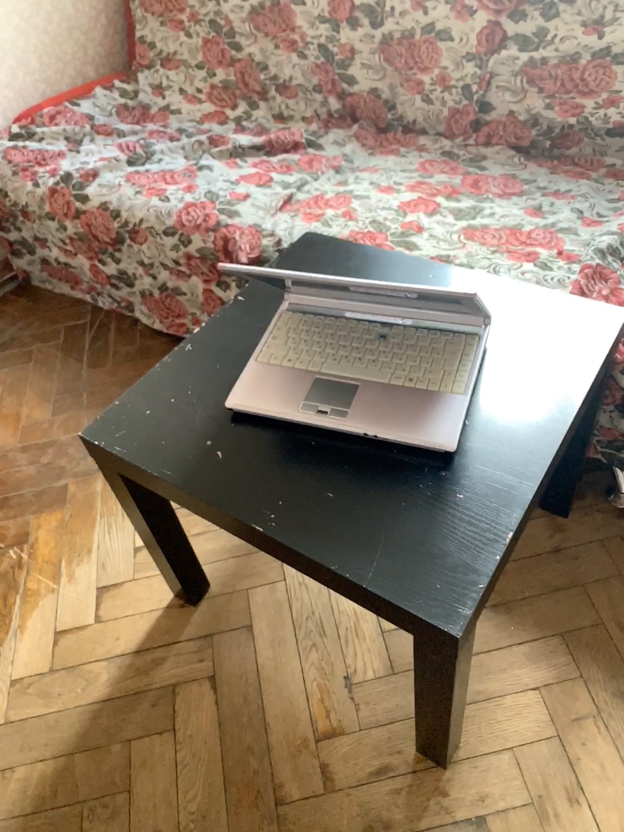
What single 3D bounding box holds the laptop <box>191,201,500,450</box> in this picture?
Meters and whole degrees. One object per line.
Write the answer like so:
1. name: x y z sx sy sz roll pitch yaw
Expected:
1. laptop: 0.052 -0.124 0.794 0.305 0.156 0.226 11 51 19
